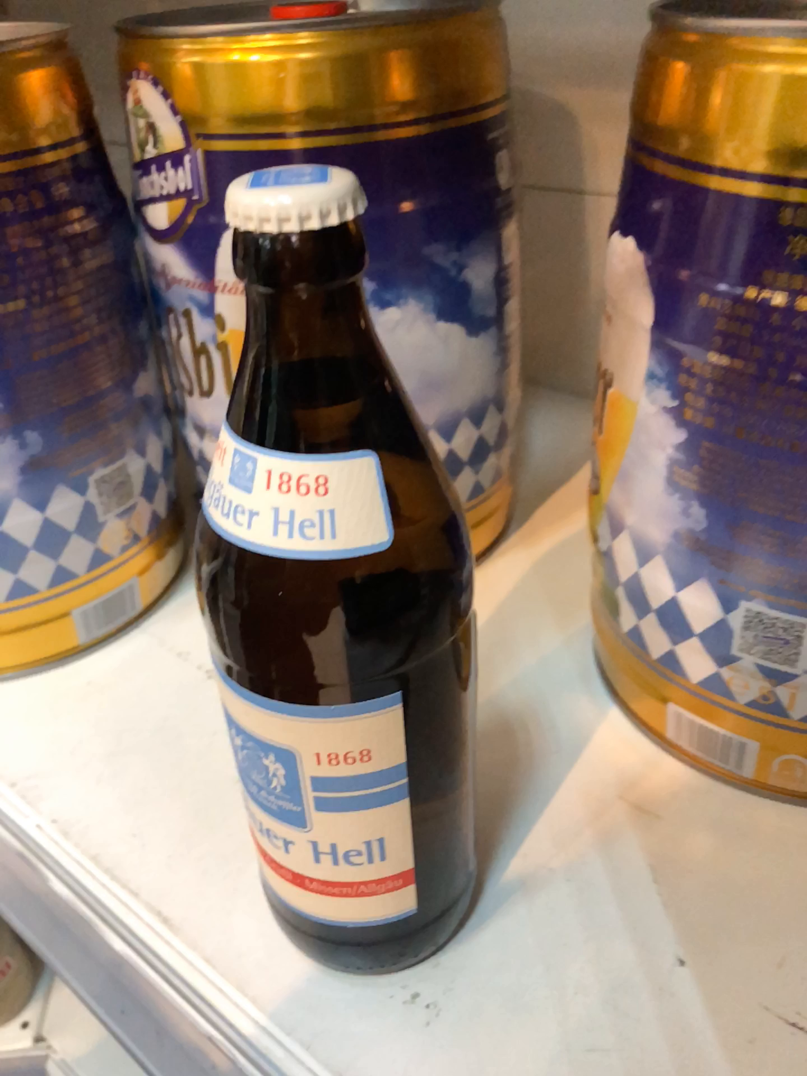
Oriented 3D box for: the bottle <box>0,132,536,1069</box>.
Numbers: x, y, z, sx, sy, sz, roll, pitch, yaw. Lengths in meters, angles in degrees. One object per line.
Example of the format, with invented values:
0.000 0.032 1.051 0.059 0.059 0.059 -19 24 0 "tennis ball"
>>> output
-0.023 0.022 0.234 0.080 0.219 0.080 -4 33 2 "bottle"
